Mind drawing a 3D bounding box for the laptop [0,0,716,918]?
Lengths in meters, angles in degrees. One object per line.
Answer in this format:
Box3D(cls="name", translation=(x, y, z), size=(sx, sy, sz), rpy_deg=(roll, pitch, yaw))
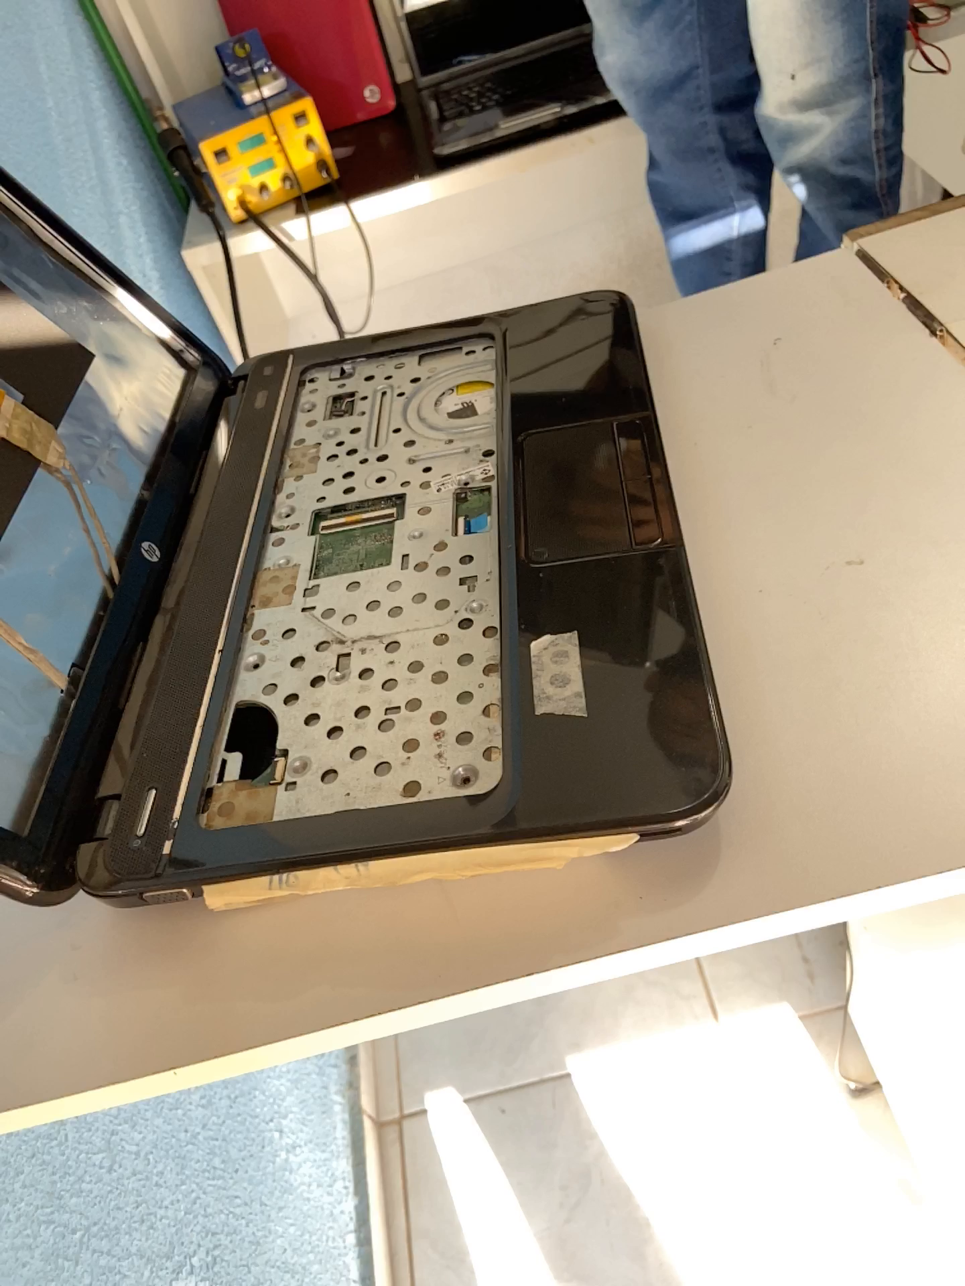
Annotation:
Box3D(cls="laptop", translation=(-0.111, -0.110, 0.385), size=(0.324, 0.186, 0.337), rpy_deg=(-10, 45, 10))
